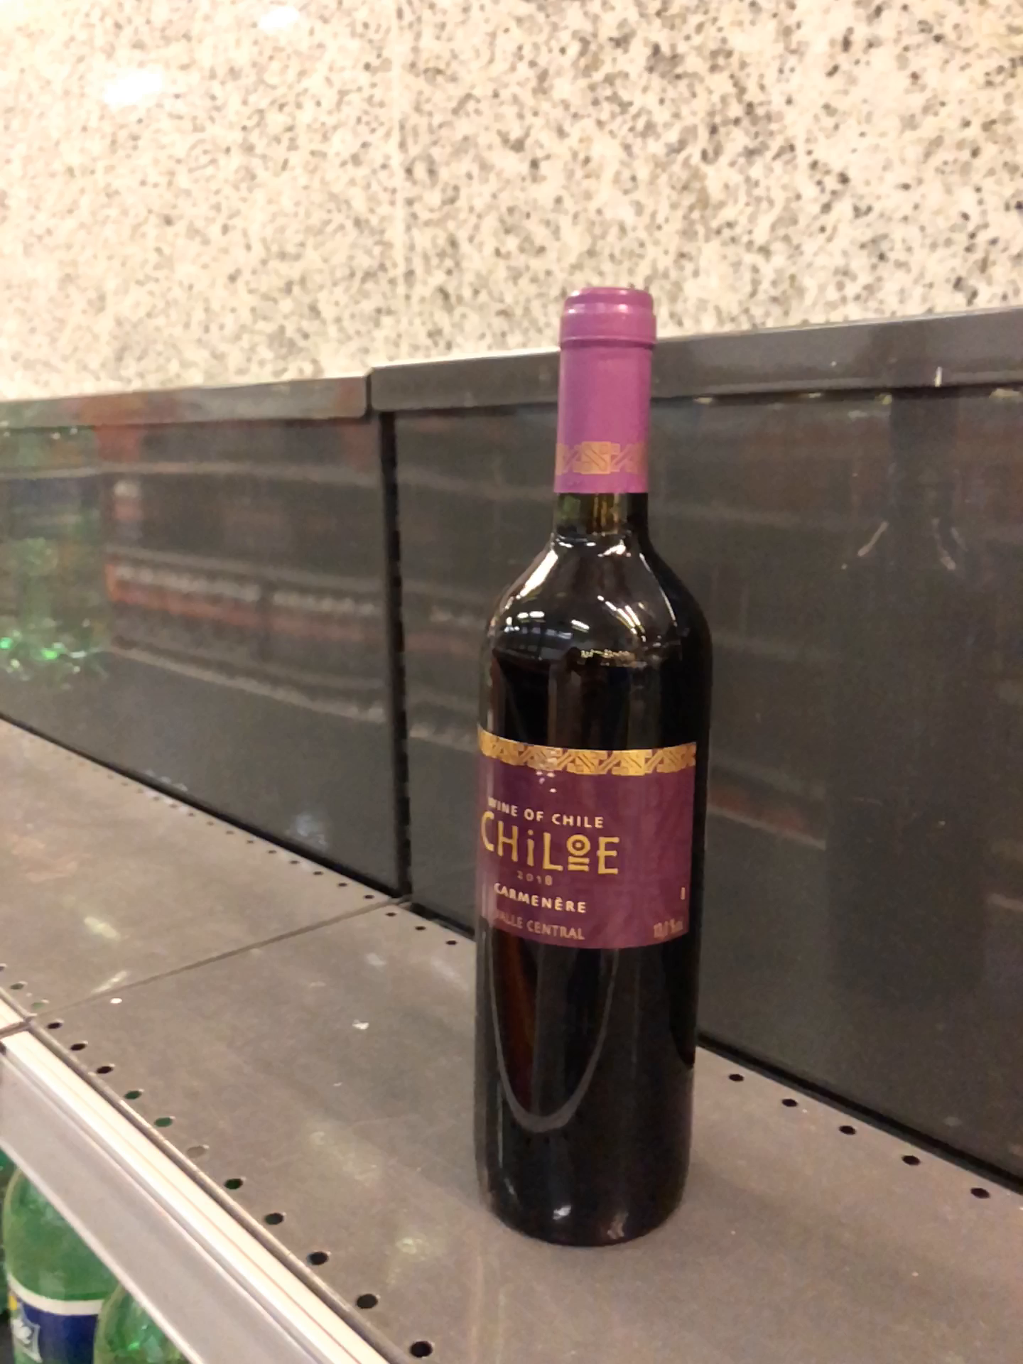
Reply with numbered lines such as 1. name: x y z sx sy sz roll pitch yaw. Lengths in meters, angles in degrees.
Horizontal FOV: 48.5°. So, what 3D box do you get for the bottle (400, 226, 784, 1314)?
1. bottle: 0.029 0.028 0.378 0.090 0.319 0.080 6 13 31
